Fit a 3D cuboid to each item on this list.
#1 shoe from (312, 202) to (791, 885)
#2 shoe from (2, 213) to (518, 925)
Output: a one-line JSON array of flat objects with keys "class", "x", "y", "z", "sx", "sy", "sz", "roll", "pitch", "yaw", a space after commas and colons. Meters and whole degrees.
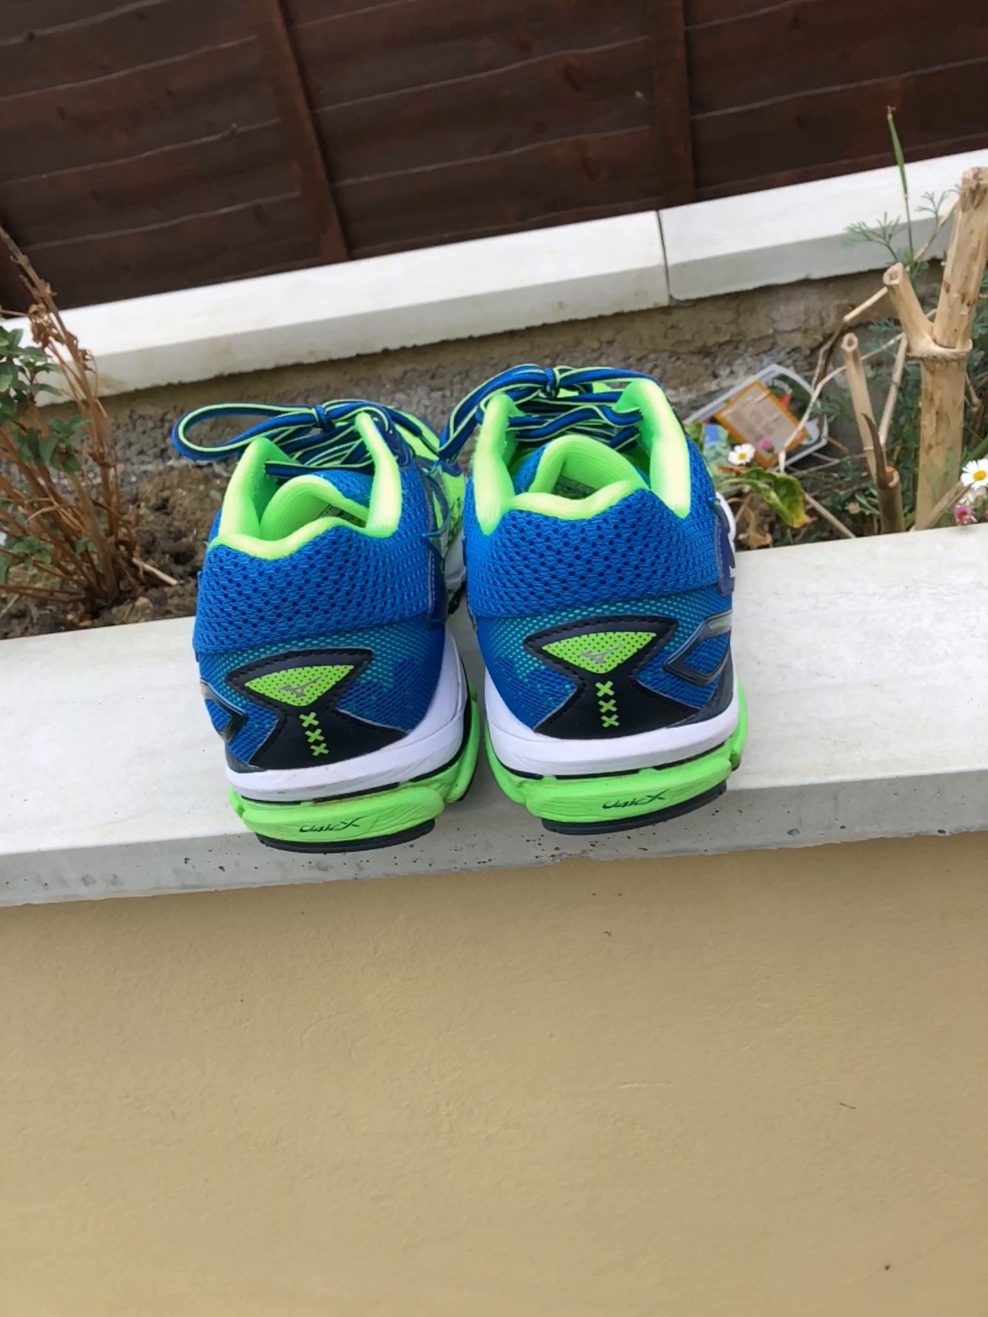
[{"class": "shoe", "x": 0.028, "y": -0.069, "z": 0.411, "sx": 0.110, "sy": 0.119, "sz": 0.292, "roll": -7, "pitch": 33, "yaw": 8}, {"class": "shoe", "x": -0.069, "y": -0.060, "z": 0.422, "sx": 0.110, "sy": 0.119, "sz": 0.292, "roll": -11, "pitch": 37, "yaw": 3}]
